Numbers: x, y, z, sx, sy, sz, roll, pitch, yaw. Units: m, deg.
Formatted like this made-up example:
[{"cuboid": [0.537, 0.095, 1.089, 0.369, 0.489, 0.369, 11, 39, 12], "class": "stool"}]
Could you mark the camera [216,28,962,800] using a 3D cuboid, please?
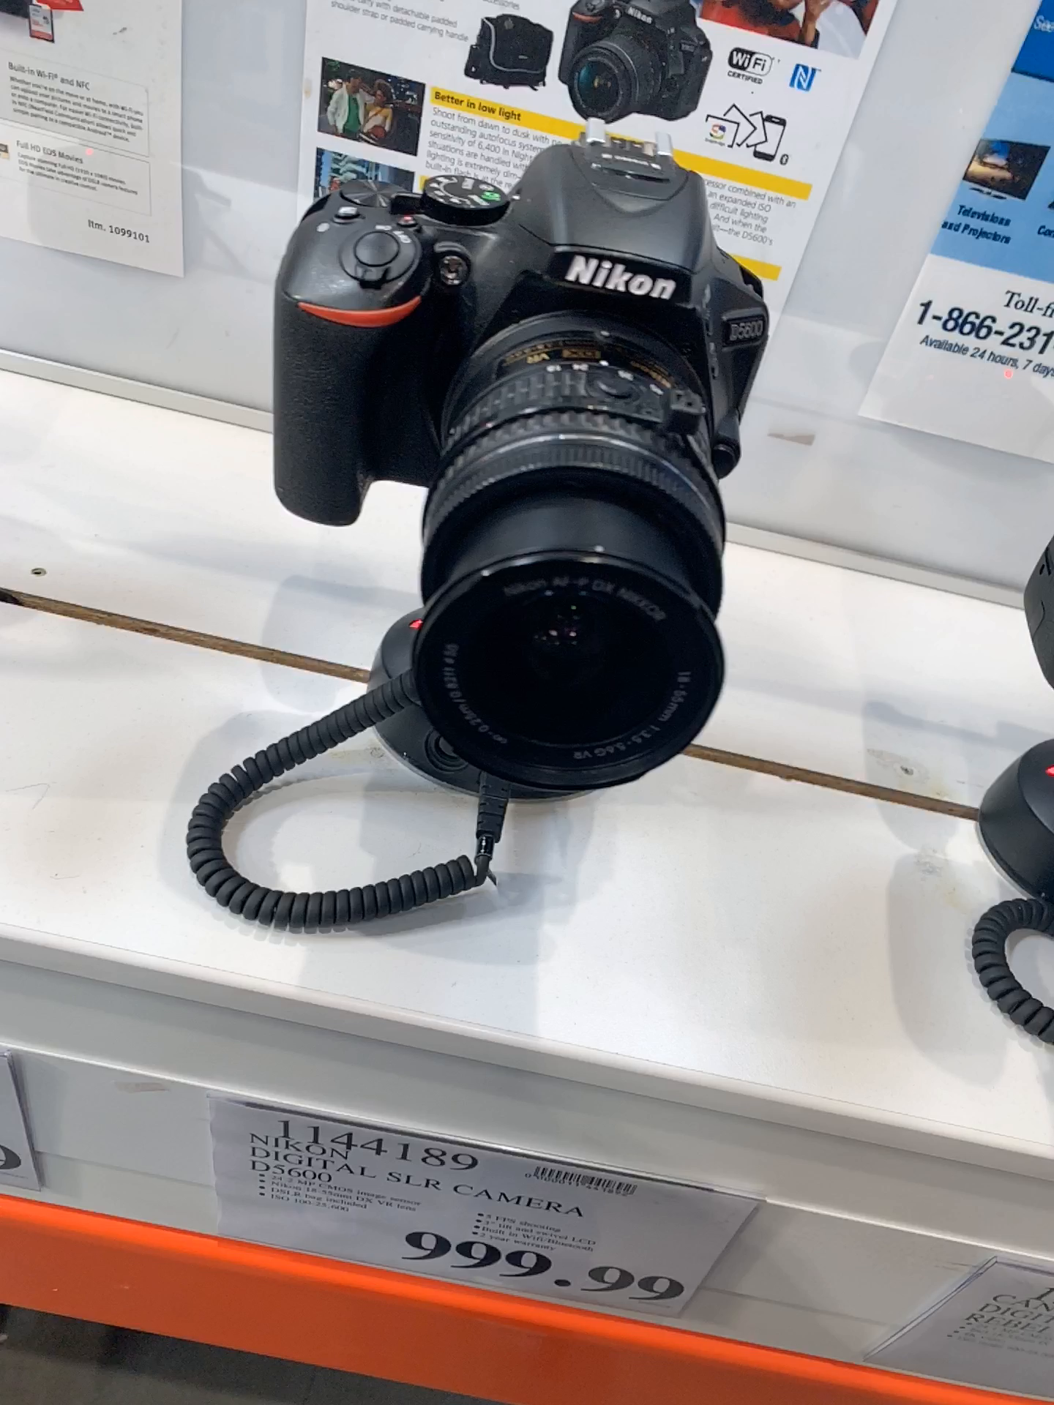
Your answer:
[{"cuboid": [0.006, -0.069, 0.239, 0.111, 0.090, 0.141, 10, 43, -5], "class": "camera"}]
